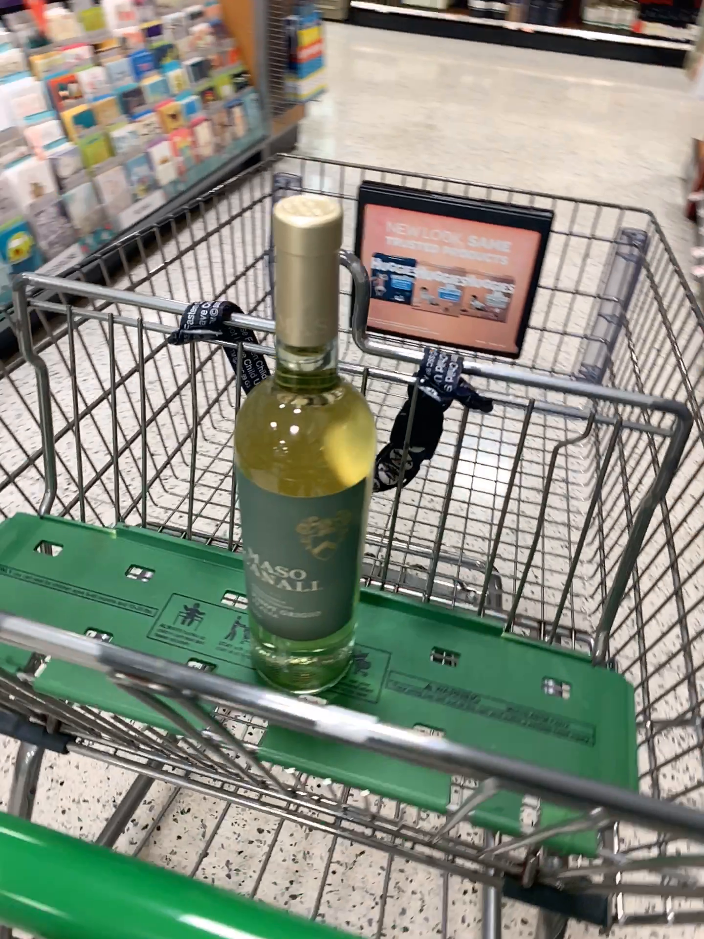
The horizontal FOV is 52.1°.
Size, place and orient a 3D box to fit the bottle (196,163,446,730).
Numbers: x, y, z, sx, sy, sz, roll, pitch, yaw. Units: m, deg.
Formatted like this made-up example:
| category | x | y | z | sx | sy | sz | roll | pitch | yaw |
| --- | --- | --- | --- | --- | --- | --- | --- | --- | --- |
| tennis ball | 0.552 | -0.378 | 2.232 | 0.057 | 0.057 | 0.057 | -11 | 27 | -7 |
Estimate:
| category | x | y | z | sx | sy | sz | roll | pitch | yaw |
| --- | --- | --- | --- | --- | --- | --- | --- | --- | --- |
| bottle | -0.019 | 0.012 | 0.428 | 0.080 | 0.336 | 0.091 | 18 | 42 | 15 |
